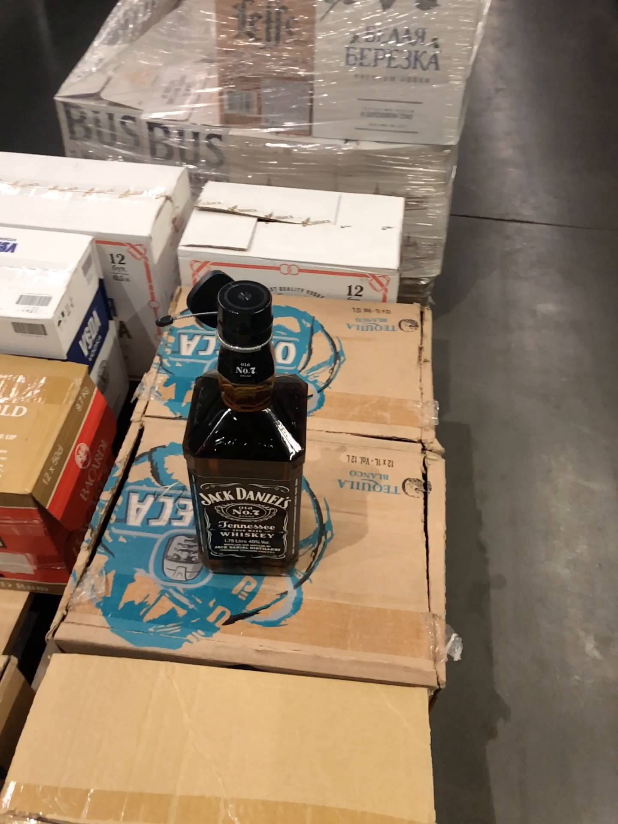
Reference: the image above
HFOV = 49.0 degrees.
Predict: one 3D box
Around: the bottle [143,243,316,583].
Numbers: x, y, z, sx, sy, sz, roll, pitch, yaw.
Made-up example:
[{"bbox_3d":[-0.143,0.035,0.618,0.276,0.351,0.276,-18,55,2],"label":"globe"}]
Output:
[{"bbox_3d":[-0.057,0.019,0.592,0.110,0.308,0.111,1,47,-1],"label":"bottle"}]
